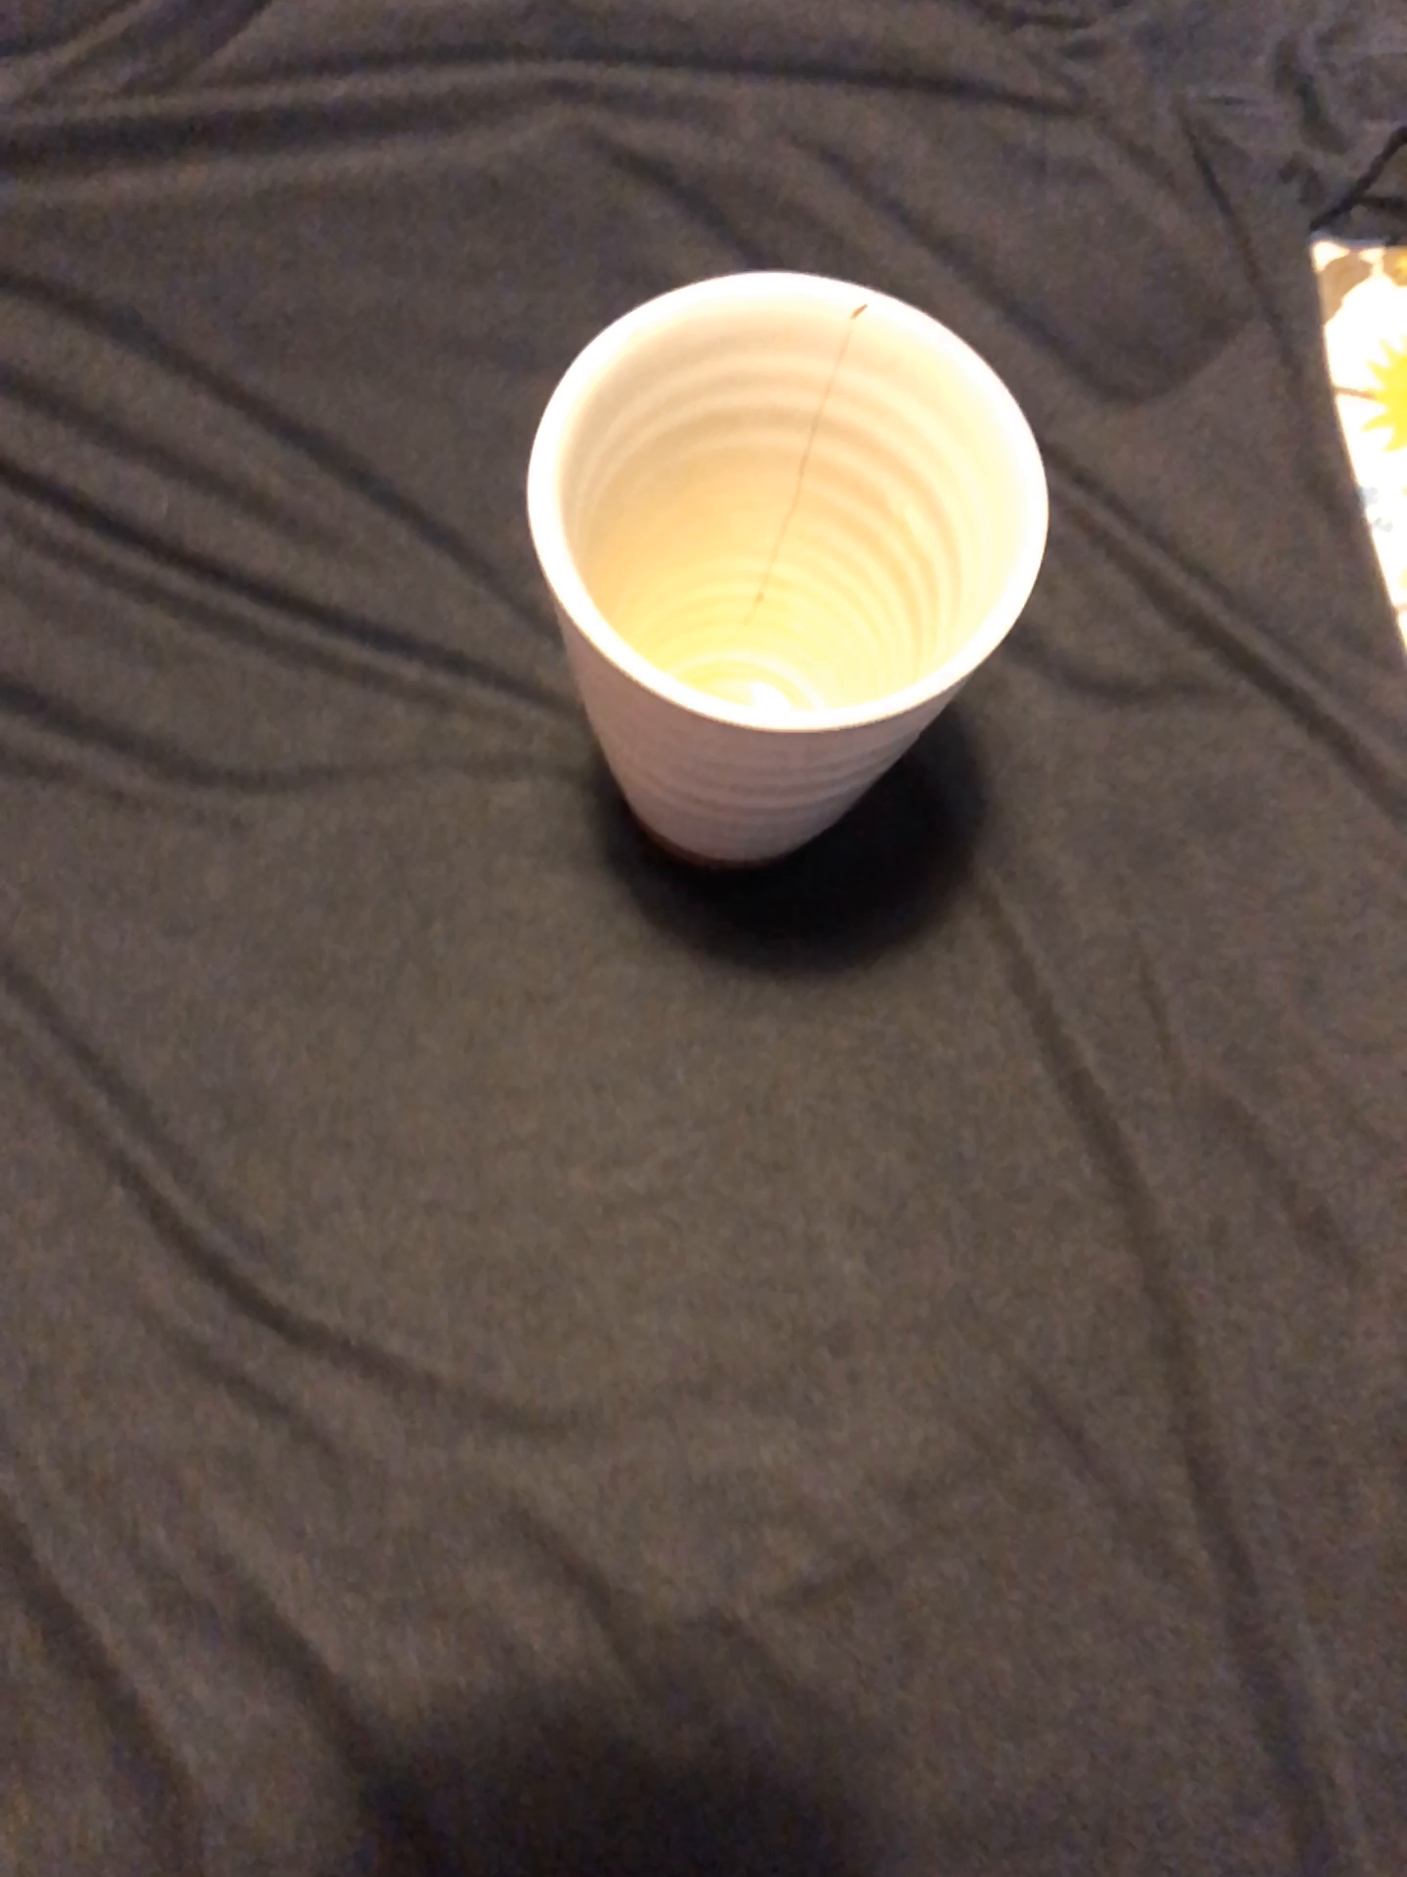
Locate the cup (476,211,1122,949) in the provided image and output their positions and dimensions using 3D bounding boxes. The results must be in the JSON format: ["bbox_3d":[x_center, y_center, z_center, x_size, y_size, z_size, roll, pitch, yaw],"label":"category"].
[{"bbox_3d":[0.014,-0.058,0.294,0.090,0.100,0.080,11,73,-1],"label":"cup"}]
